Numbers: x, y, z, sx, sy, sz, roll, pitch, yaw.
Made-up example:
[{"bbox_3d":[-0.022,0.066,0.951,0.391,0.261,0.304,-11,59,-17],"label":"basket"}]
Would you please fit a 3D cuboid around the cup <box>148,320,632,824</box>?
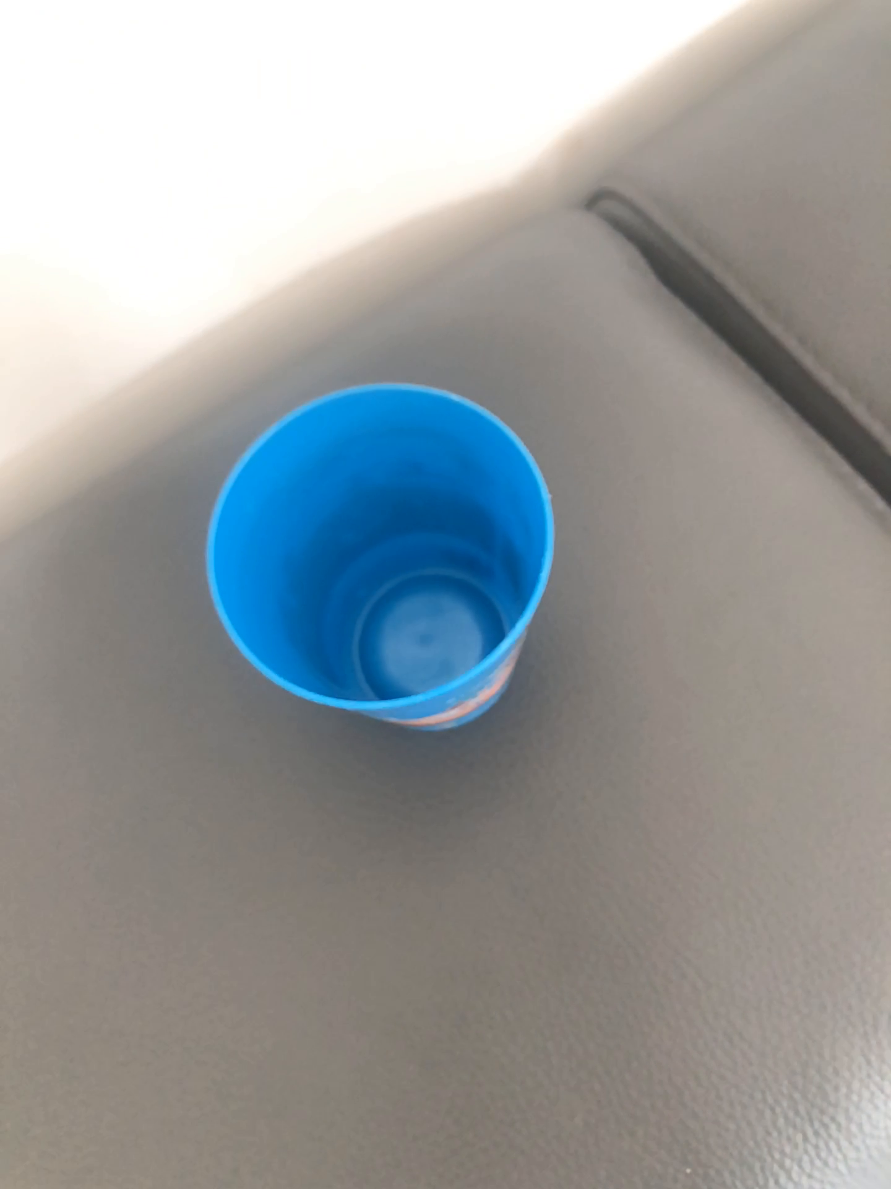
[{"bbox_3d":[-0.011,0.000,0.272,0.080,0.090,0.080,-2,71,5],"label":"cup"}]
